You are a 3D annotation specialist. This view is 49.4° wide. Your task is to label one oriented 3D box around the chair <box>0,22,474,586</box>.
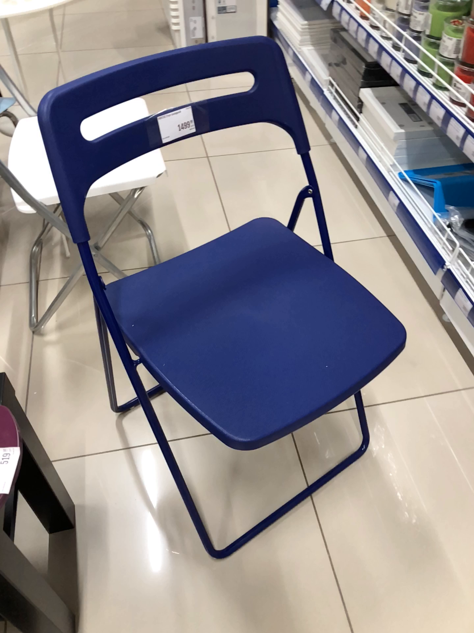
[{"bbox_3d":[0.003,-0.004,0.875,0.451,0.705,0.466,-28,52,-24],"label":"chair"}]
